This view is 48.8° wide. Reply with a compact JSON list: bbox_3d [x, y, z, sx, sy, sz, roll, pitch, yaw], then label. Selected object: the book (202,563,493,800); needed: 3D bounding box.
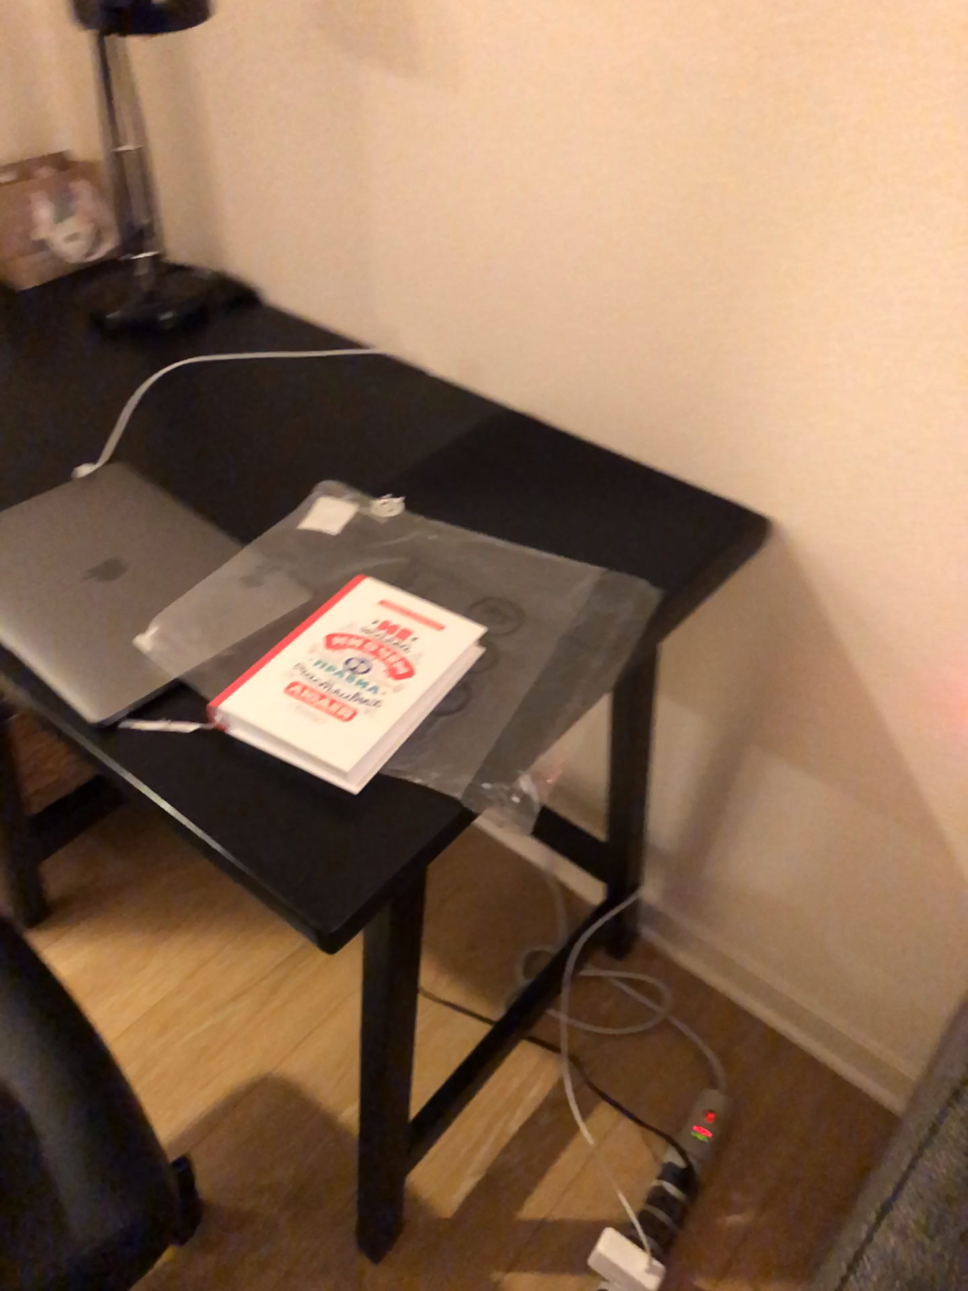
[{"bbox_3d":[-0.101,0.019,0.839,0.140,0.030,0.191,22,46,21],"label":"book"}]
